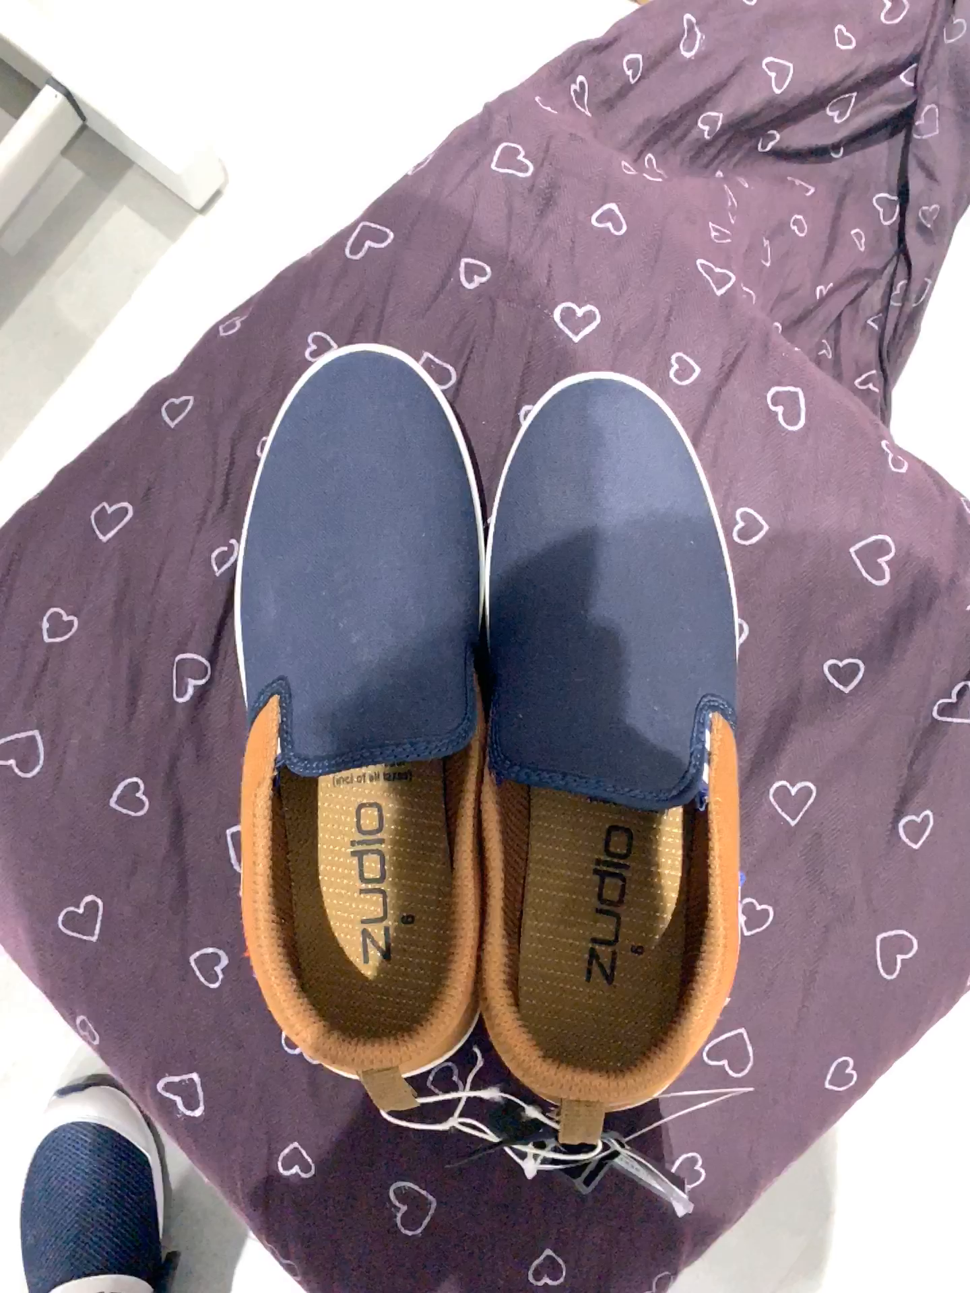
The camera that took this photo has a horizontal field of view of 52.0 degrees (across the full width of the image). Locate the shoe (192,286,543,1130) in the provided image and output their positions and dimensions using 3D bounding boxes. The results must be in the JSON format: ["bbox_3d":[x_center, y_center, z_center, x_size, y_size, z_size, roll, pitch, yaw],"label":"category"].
[{"bbox_3d":[-0.041,0.017,0.355,0.100,0.060,0.270,-4,84,0],"label":"shoe"}]

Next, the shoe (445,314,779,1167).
[{"bbox_3d":[0.043,0.027,0.351,0.100,0.060,0.270,2,84,0],"label":"shoe"}]
